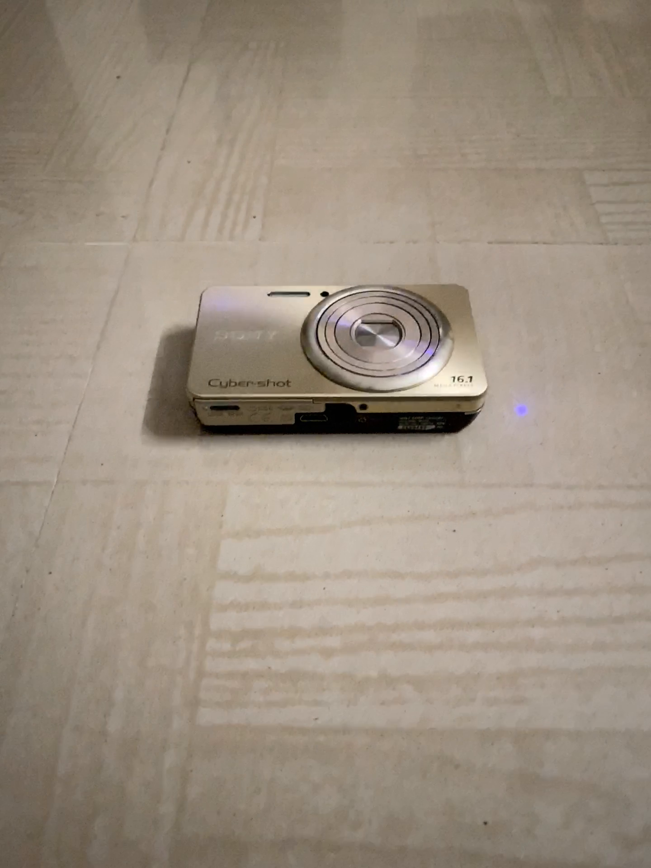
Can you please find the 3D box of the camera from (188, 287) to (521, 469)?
[{"bbox_3d":[0.010,-0.020,0.222,0.097,0.019,0.057,3,52,2],"label":"camera"}]
